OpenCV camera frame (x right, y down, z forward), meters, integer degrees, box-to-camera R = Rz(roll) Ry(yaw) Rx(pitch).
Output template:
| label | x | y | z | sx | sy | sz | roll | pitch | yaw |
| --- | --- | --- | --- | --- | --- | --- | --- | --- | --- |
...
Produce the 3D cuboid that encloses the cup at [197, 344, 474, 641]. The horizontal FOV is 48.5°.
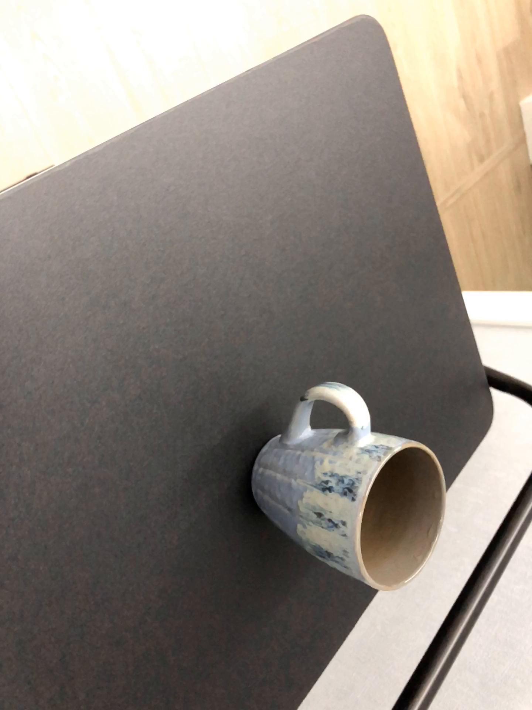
| label | x | y | z | sx | sy | sz | roll | pitch | yaw |
| --- | --- | --- | --- | --- | --- | --- | --- | --- | --- |
| cup | 0.044 | 0.071 | 0.350 | 0.089 | 0.107 | 0.120 | -34 | 118 | -36 |
